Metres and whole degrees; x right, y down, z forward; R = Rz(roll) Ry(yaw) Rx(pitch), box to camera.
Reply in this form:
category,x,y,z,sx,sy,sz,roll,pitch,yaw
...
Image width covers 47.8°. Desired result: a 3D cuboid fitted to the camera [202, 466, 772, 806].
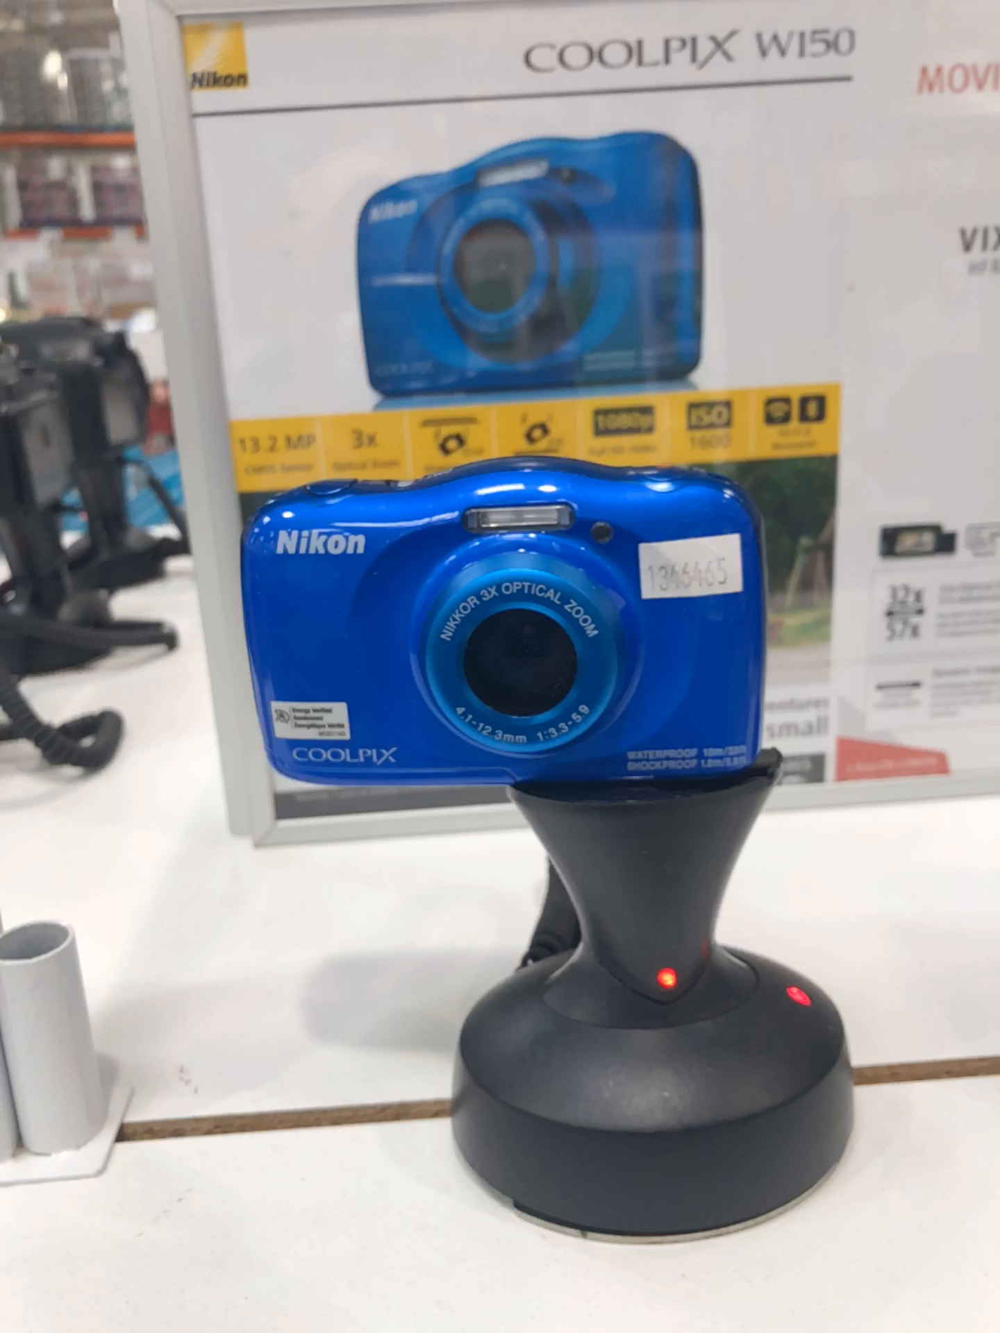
category,x,y,z,sx,sy,sz,roll,pitch,yaw
camera,-0.001,-0.008,0.245,0.110,0.060,0.040,-3,17,1
